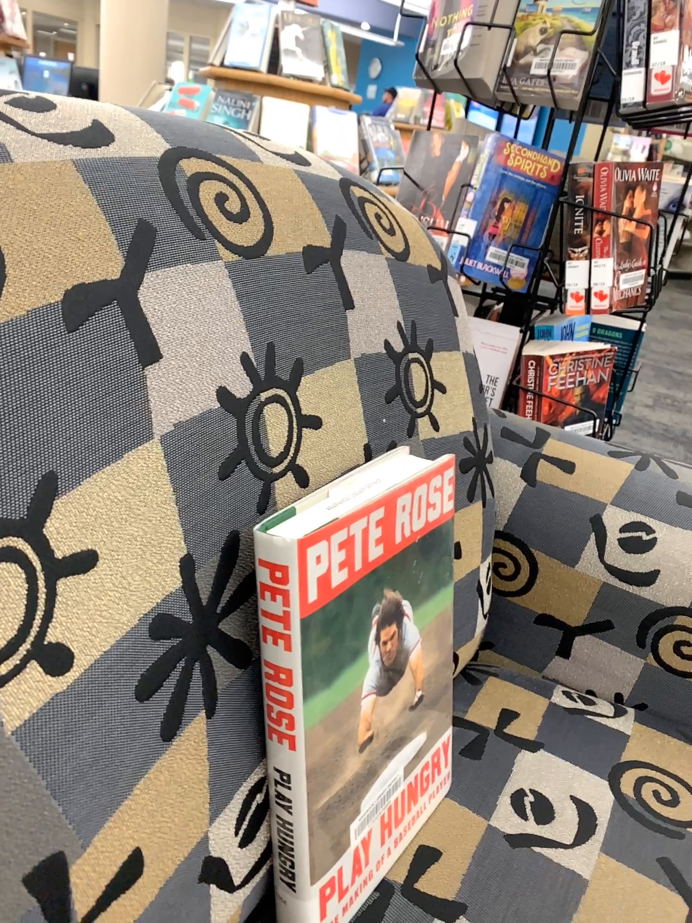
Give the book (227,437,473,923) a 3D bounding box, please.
[{"bbox_3d":[0.016,0.127,0.426,0.040,0.249,0.191,8,17,32],"label":"book"}]
